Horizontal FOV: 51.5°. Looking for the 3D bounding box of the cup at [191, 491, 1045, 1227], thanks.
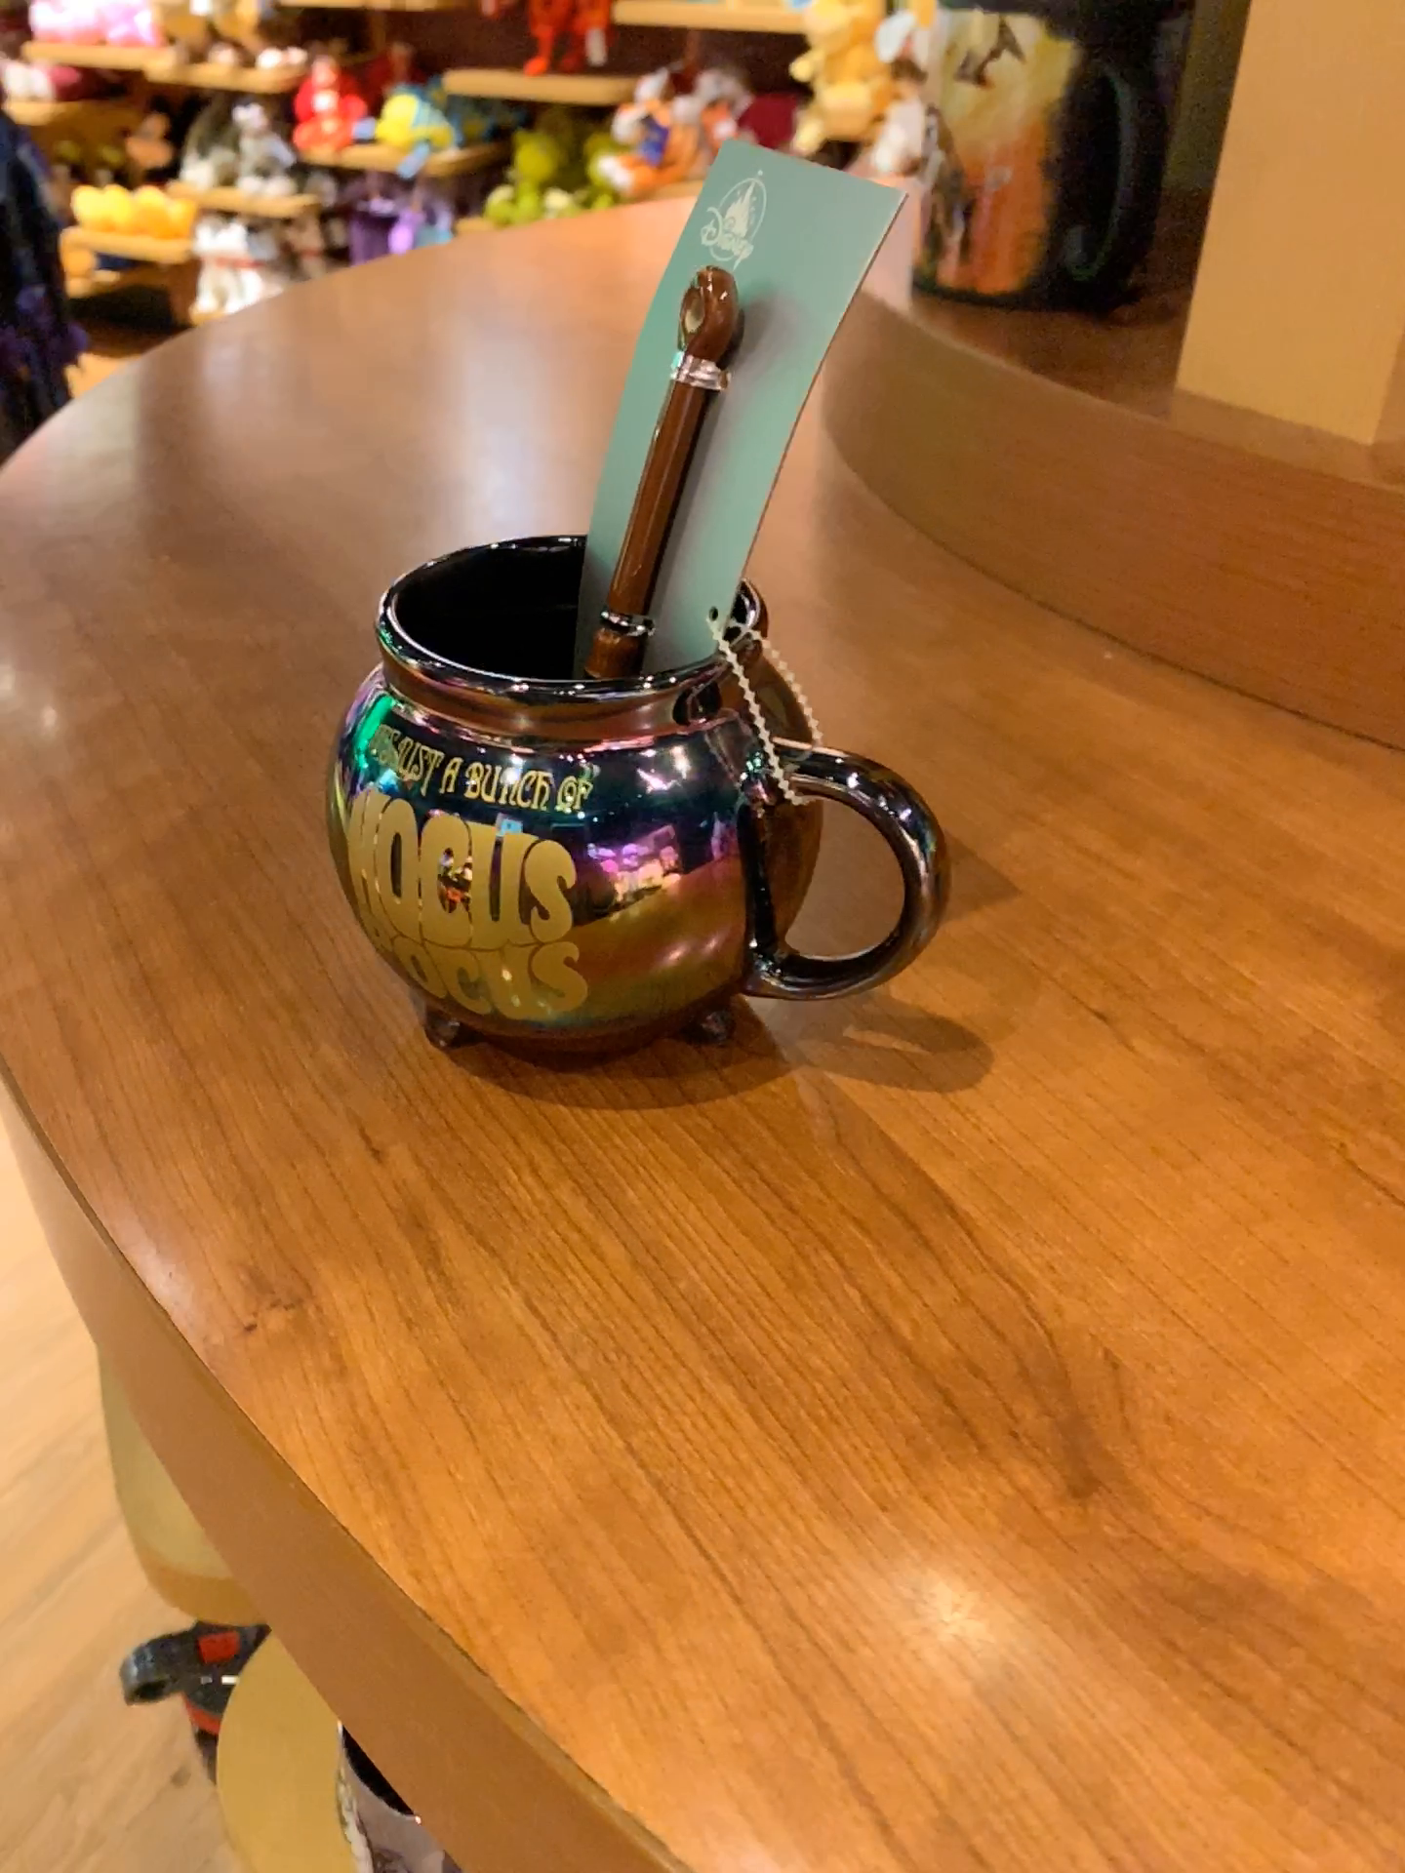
[{"bbox_3d":[-0.014,-0.026,0.312,0.136,0.089,0.101,17,38,23],"label":"cup"}]
